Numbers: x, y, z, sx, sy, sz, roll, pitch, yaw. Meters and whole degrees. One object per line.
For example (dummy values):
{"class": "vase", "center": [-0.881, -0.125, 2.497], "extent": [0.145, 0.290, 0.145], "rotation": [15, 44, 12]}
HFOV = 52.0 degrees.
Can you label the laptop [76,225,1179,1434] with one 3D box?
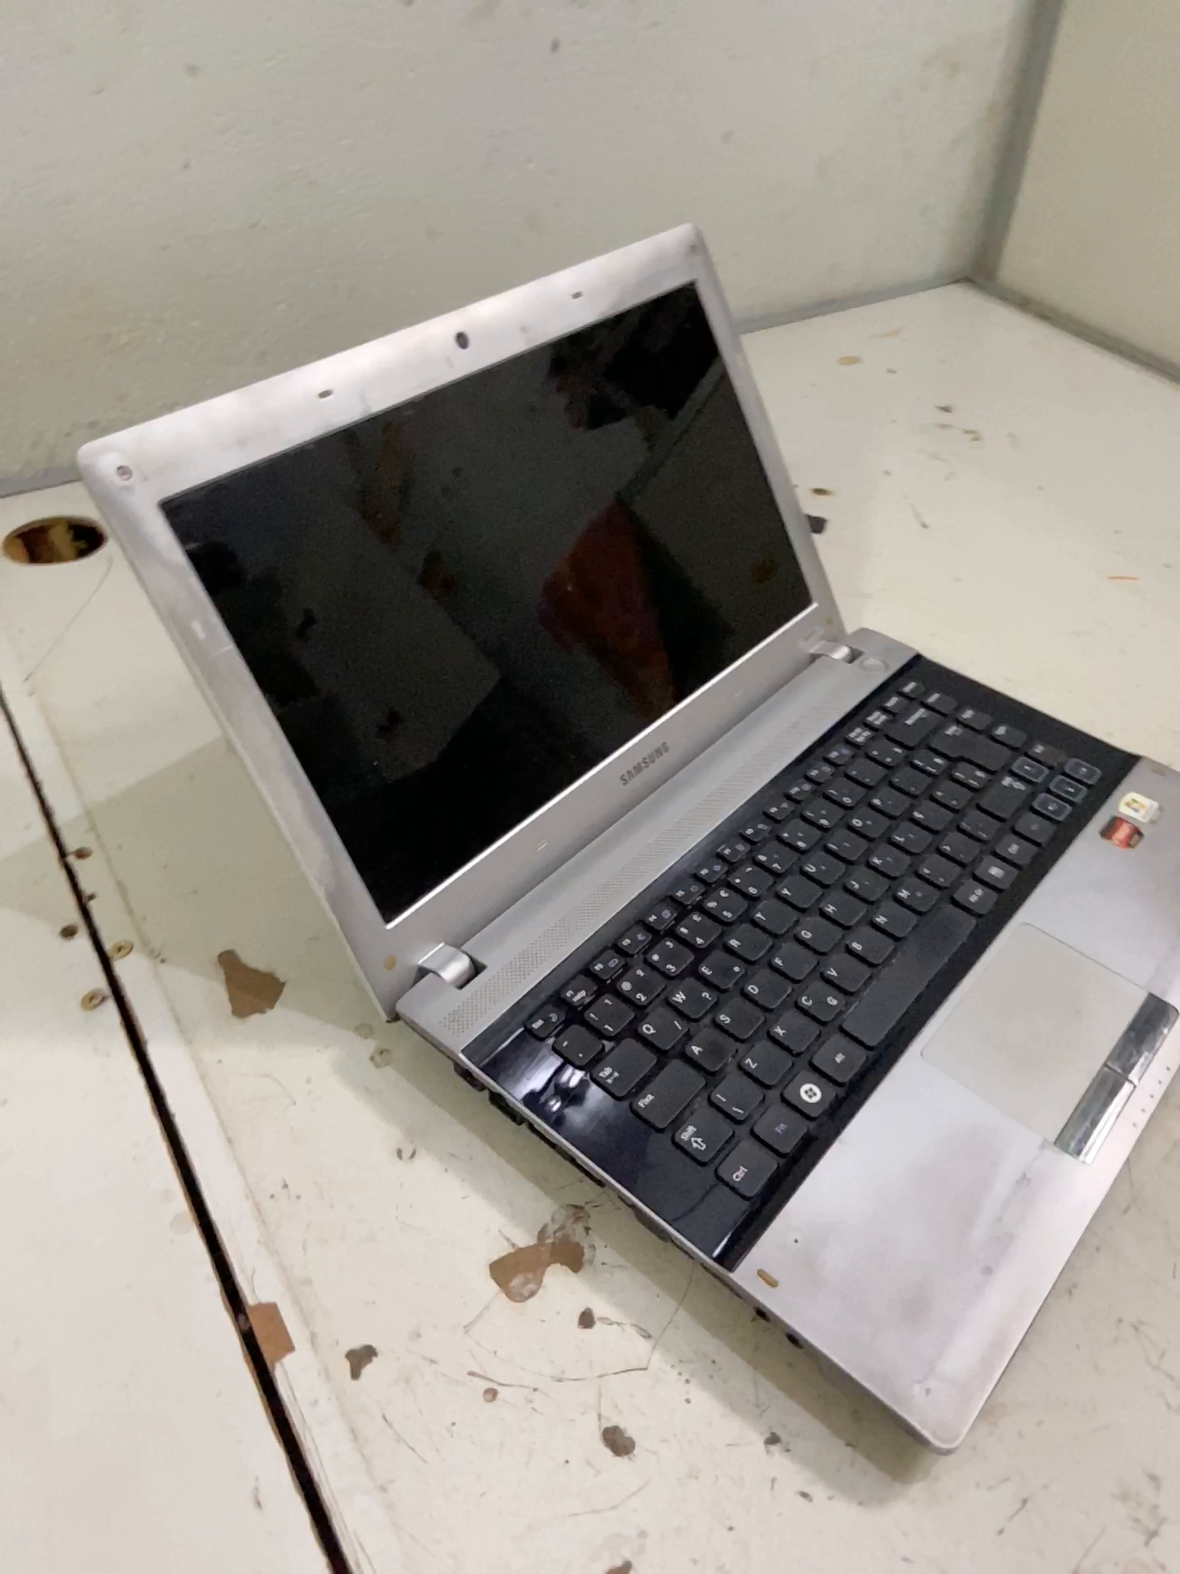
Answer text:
{"class": "laptop", "center": [0.078, -0.047, 0.474], "extent": [0.367, 0.180, 0.343], "rotation": [30, 48, 28]}
